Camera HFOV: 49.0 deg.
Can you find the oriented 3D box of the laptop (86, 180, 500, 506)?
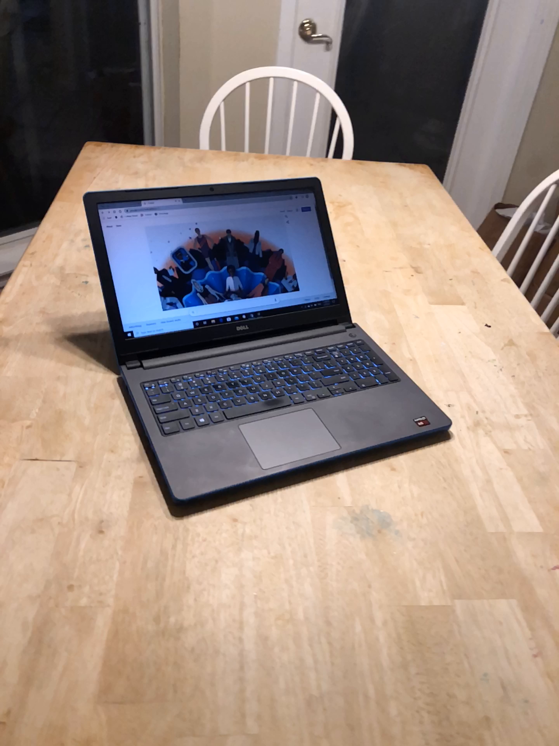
[{"bbox_3d":[-0.017,-0.084,0.815,0.367,0.174,0.420,-12,40,-23],"label":"laptop"}]
